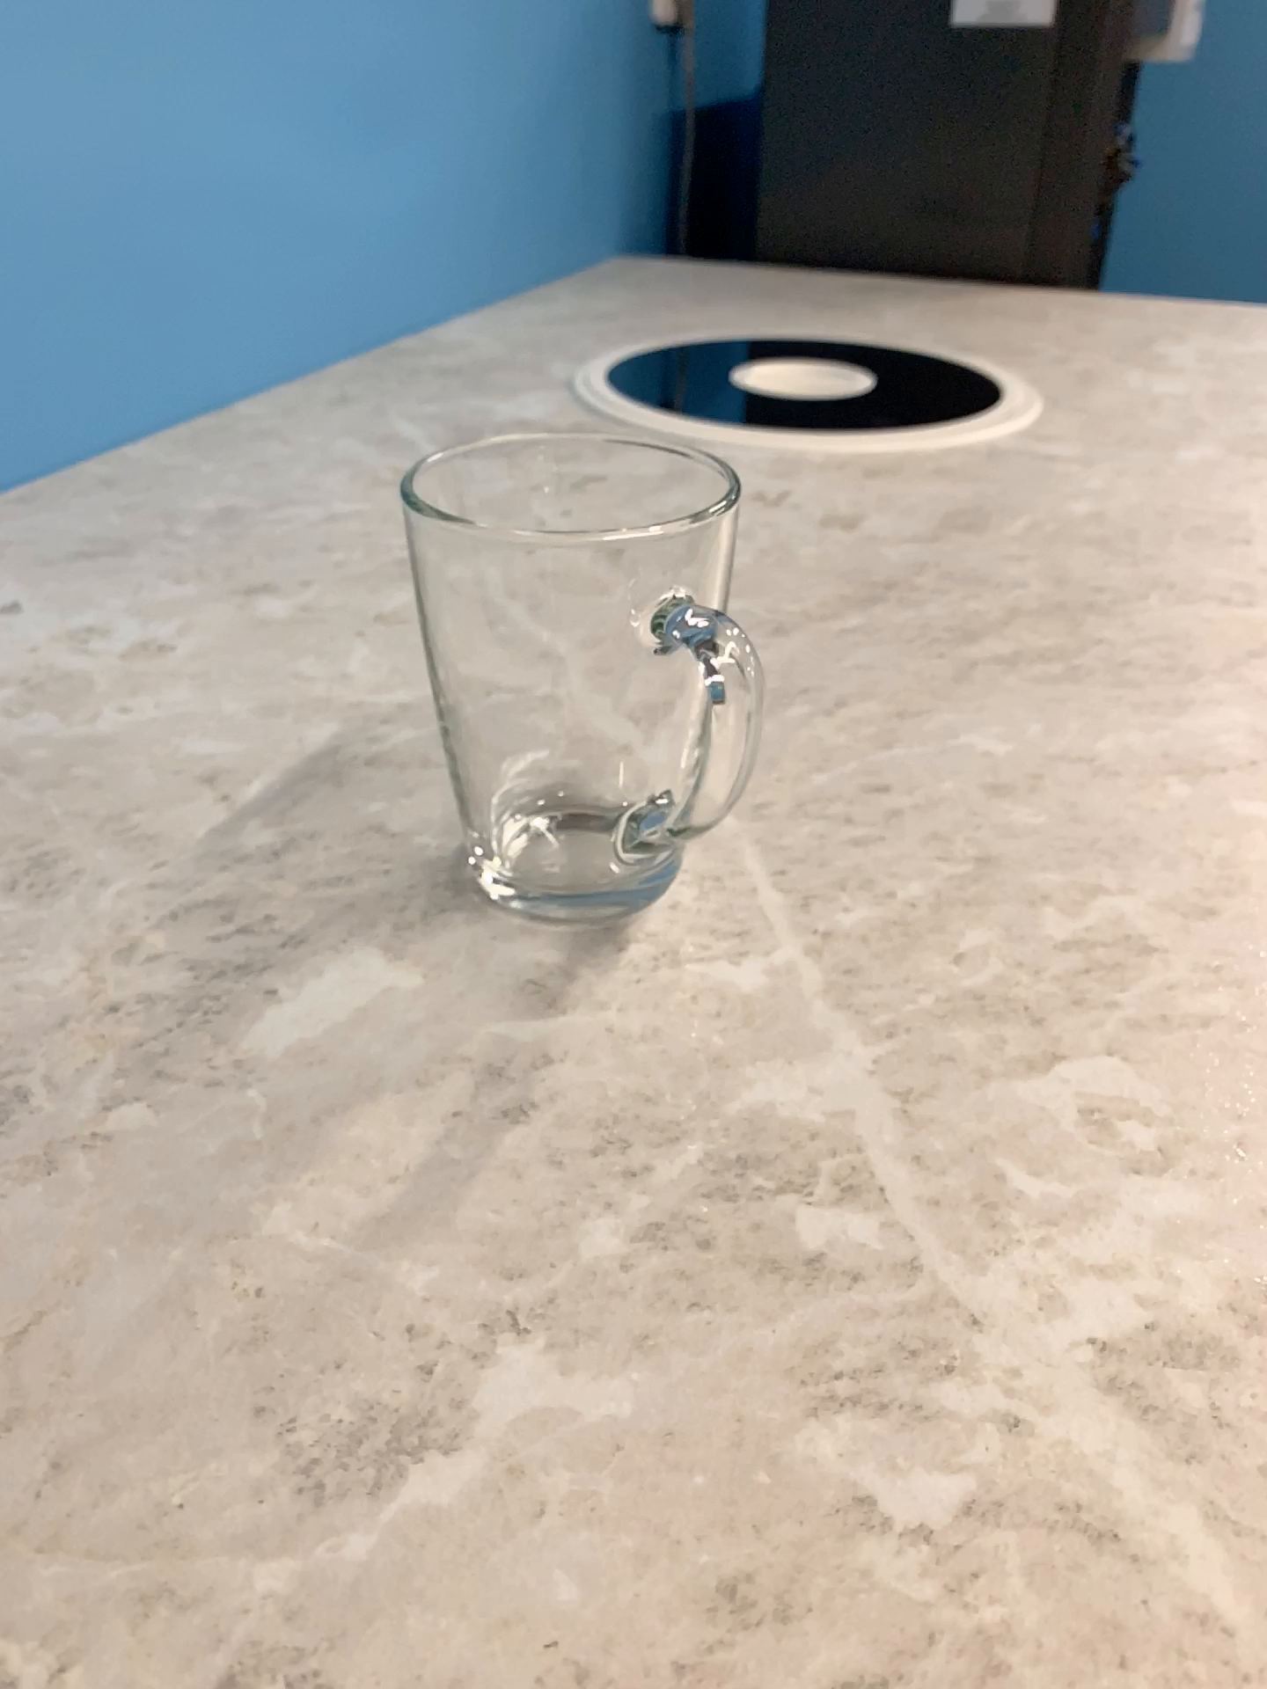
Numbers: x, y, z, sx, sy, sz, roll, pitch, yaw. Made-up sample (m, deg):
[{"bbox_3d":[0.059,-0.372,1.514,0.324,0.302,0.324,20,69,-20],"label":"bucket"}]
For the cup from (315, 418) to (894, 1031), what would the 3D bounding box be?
[{"bbox_3d":[-0.012,-0.038,0.329,0.089,0.097,0.116,-16,36,-25],"label":"cup"}]
